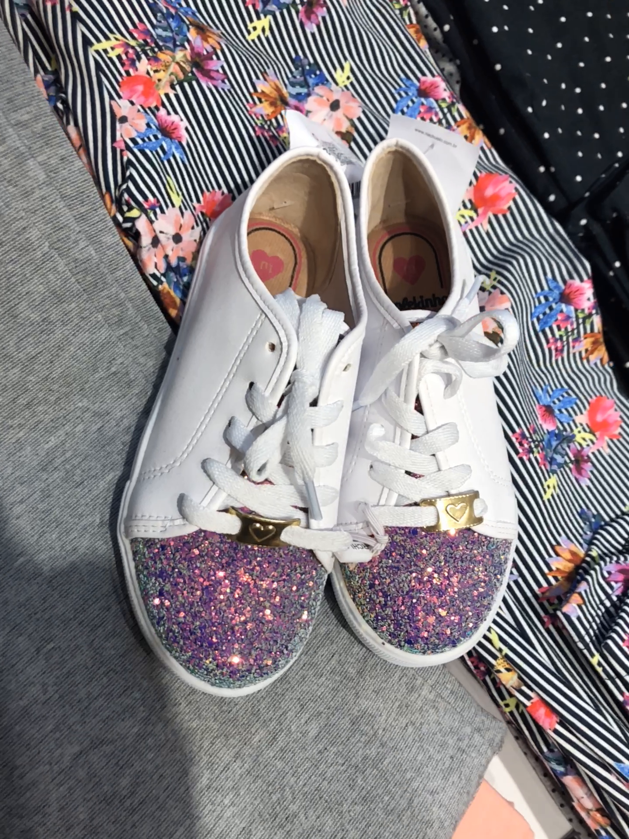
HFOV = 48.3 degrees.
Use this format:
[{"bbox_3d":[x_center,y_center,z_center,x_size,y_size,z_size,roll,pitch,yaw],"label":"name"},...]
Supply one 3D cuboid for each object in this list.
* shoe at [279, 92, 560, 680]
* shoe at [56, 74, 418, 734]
[{"bbox_3d":[0.034,-0.011,0.272,0.080,0.070,0.200,3,77,-11],"label":"shoe"},{"bbox_3d":[-0.026,-0.004,0.243,0.080,0.070,0.190,13,75,-17],"label":"shoe"}]
